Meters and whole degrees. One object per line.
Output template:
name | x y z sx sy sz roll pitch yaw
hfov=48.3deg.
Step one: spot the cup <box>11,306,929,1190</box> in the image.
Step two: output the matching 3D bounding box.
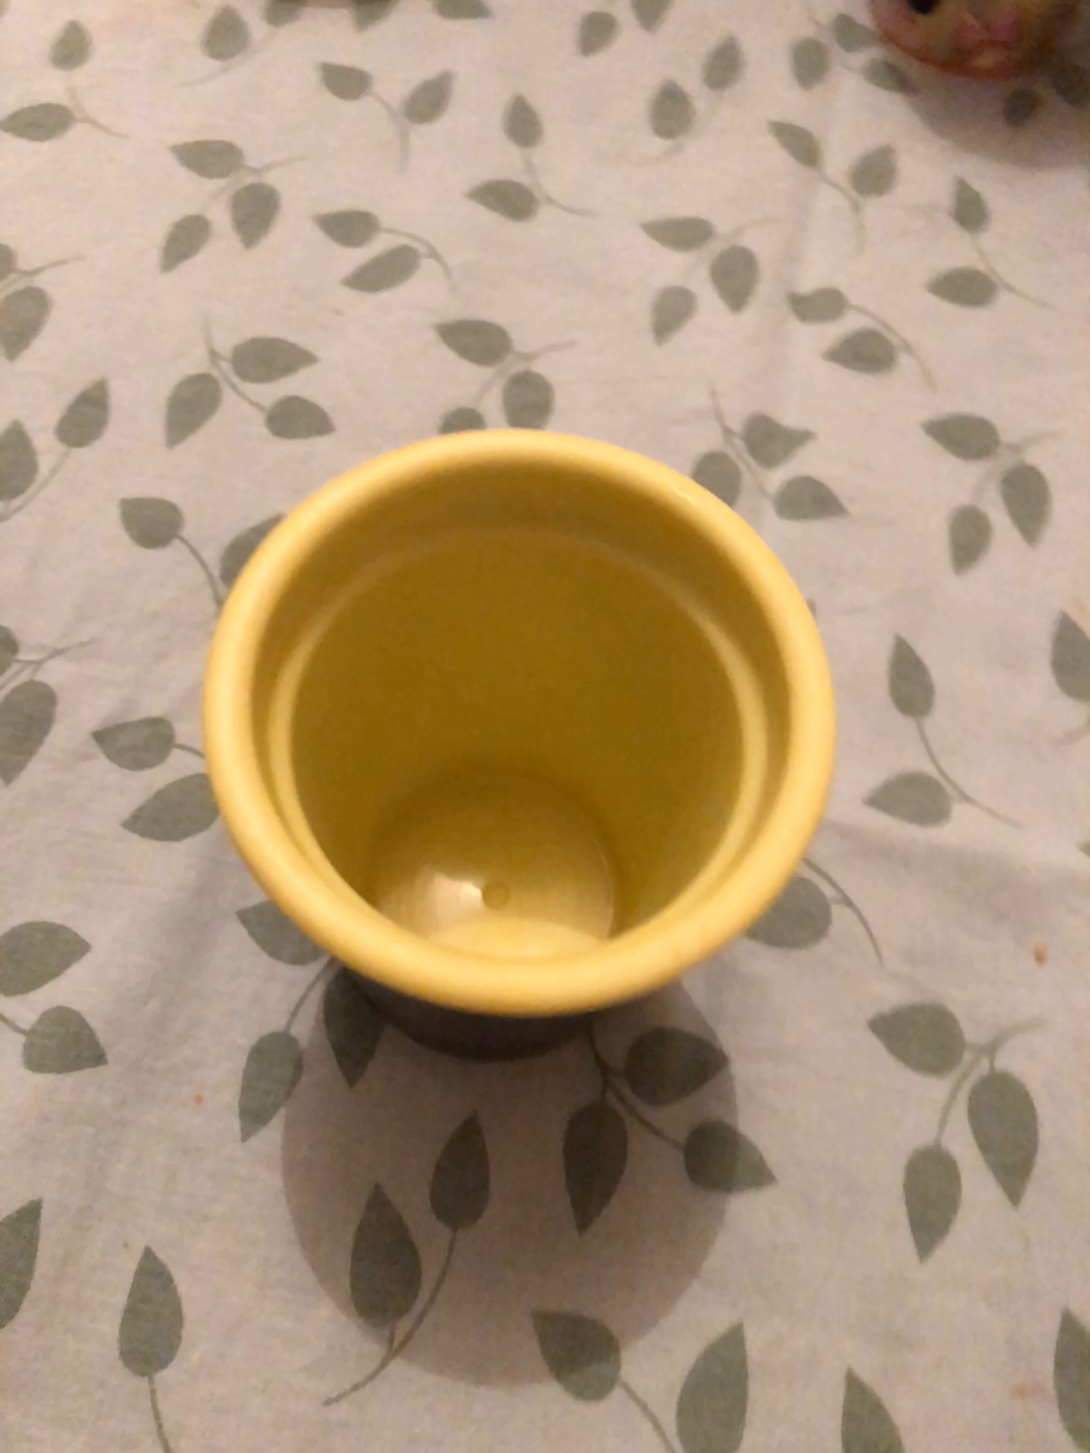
cup | -0.009 0.014 0.212 0.090 0.110 0.090 1 67 -3
